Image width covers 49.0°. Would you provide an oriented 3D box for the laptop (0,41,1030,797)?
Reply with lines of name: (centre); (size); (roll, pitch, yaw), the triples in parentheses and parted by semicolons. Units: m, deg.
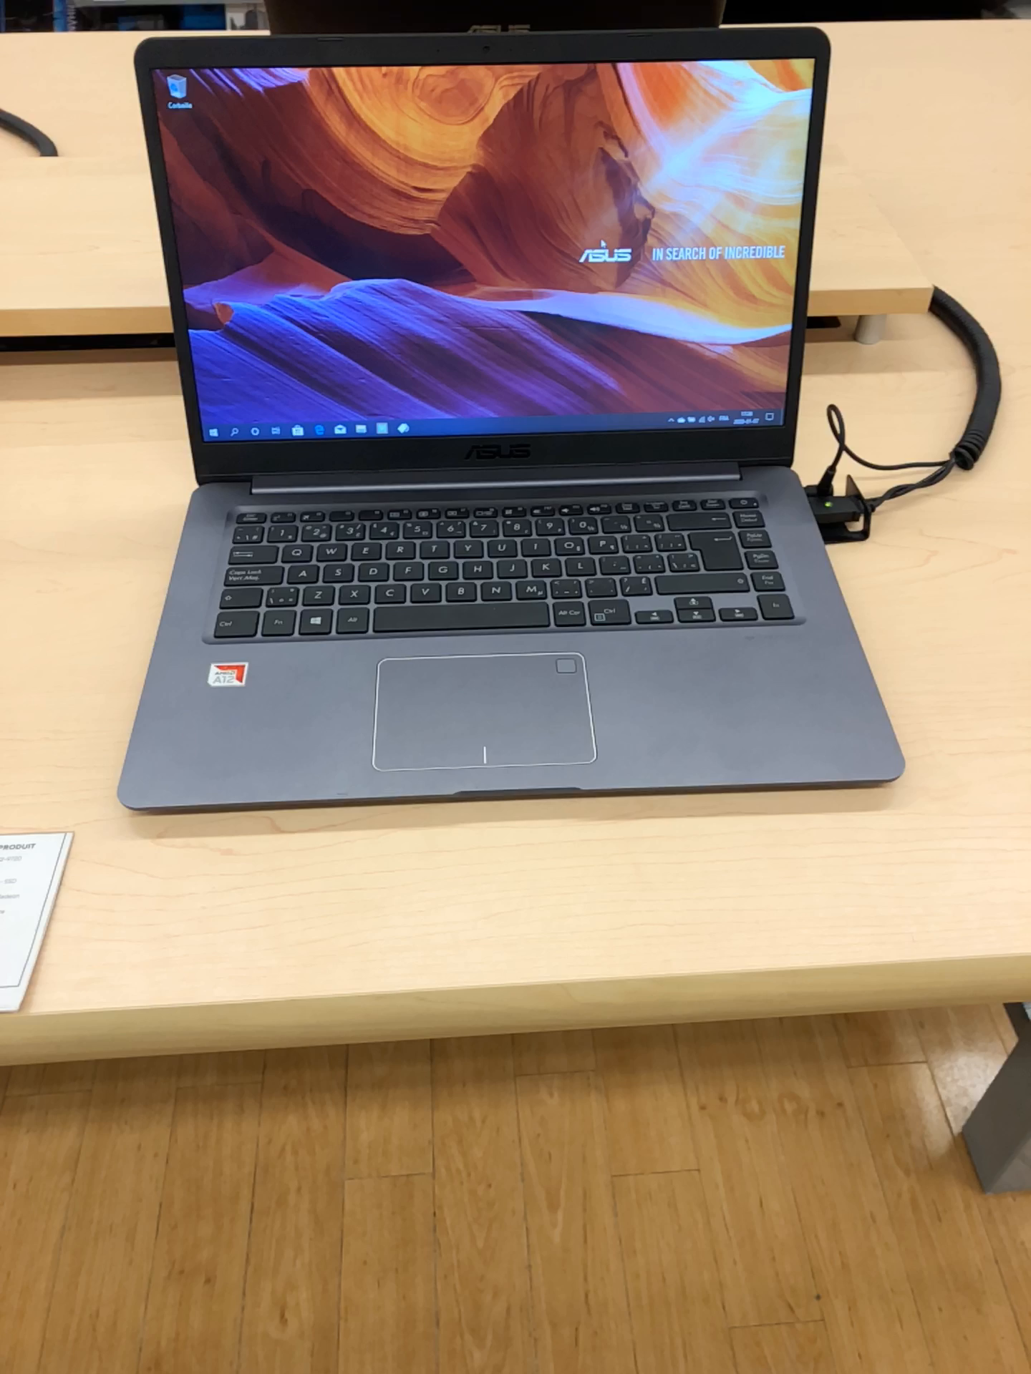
laptop: (-0.008, -0.146, 0.564); (0.361, 0.223, 0.319); (-2, 46, -2)
